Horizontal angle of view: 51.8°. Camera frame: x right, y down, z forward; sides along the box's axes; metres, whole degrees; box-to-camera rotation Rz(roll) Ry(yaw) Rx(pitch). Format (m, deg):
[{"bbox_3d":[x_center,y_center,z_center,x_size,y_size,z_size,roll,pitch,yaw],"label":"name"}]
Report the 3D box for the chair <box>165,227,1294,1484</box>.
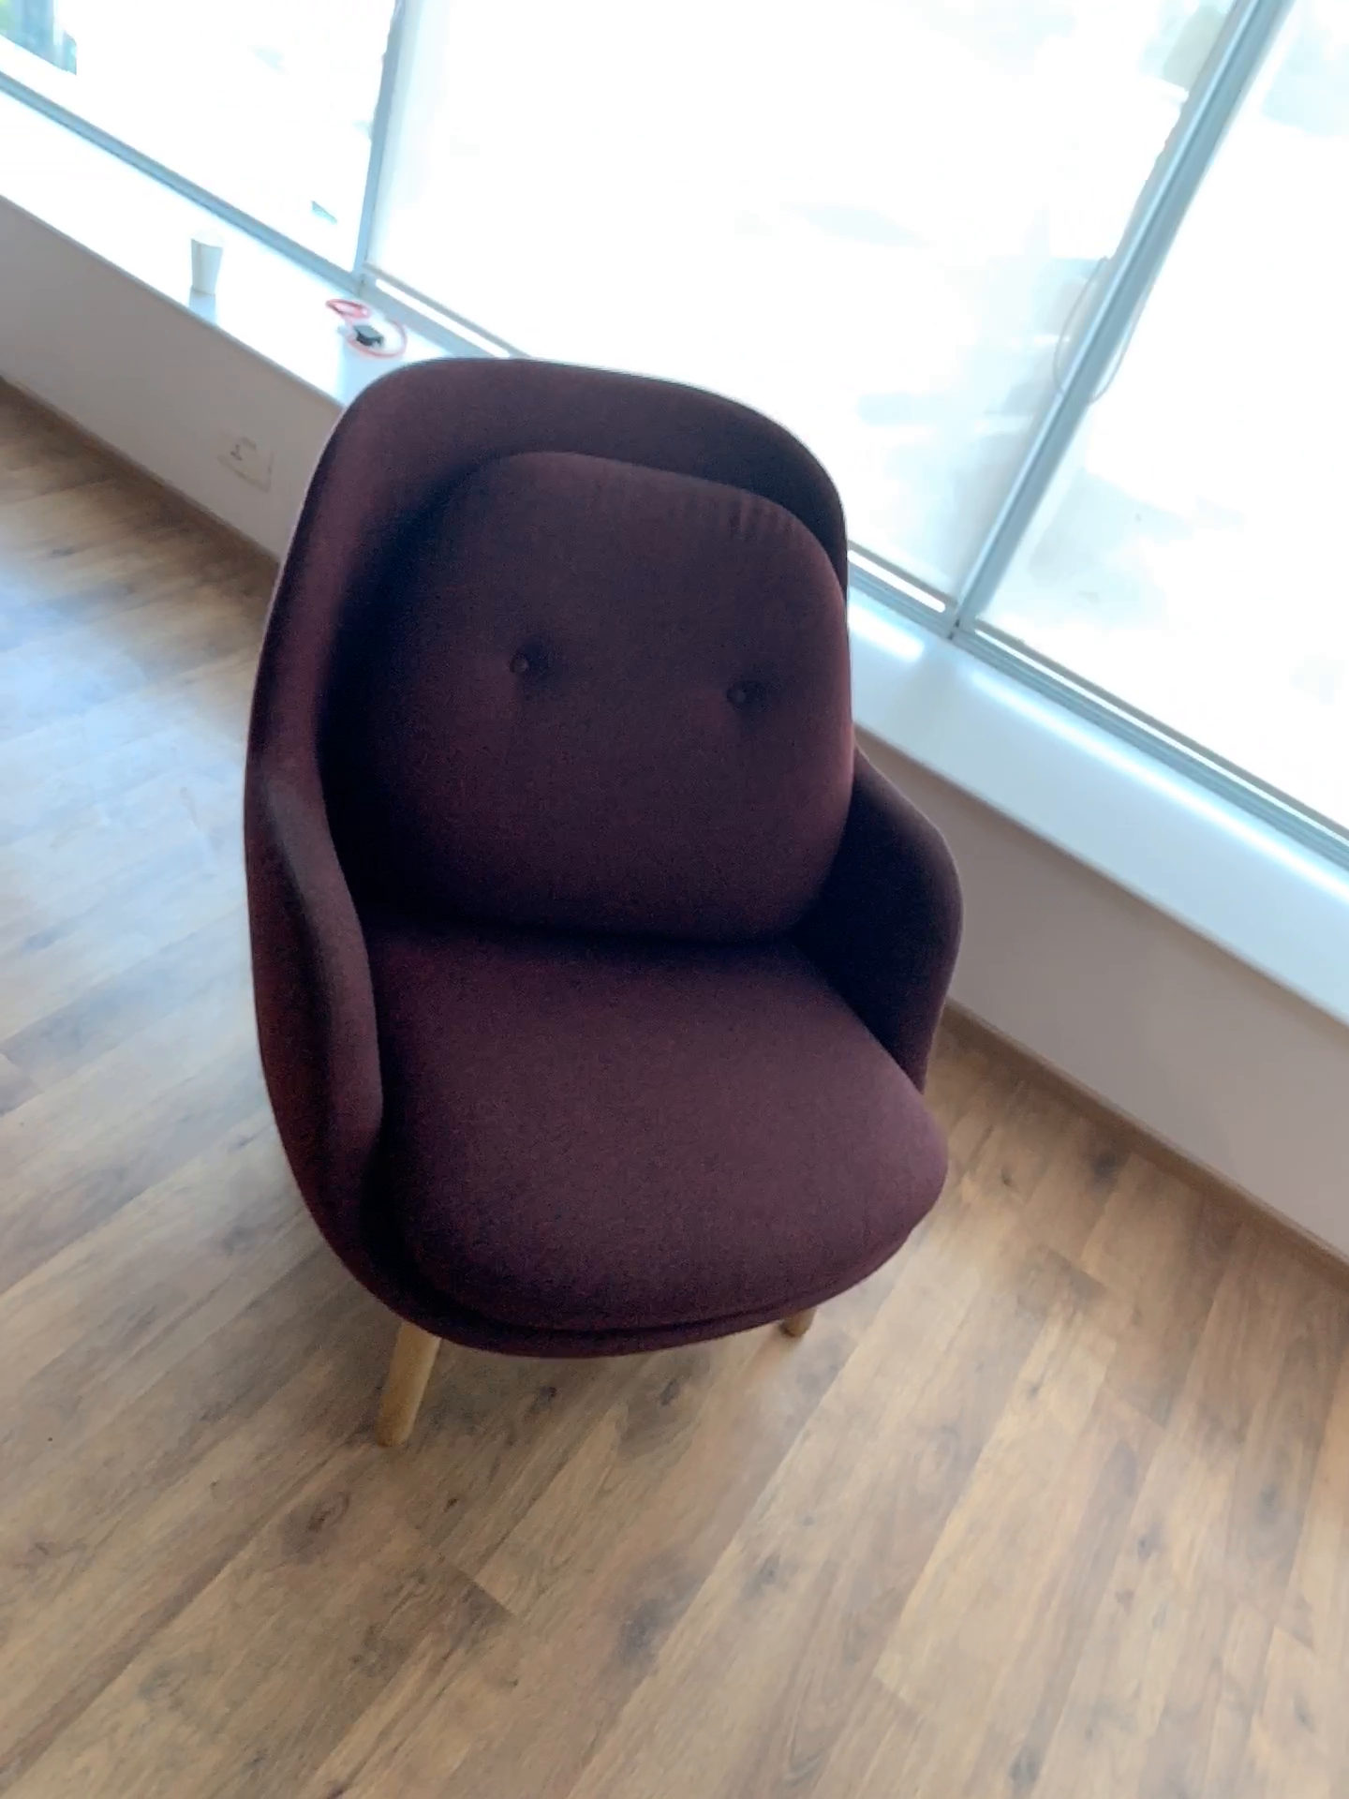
[{"bbox_3d":[-0.077,-0.016,1.402,0.691,0.932,0.634,-2,44,-28],"label":"chair"}]
